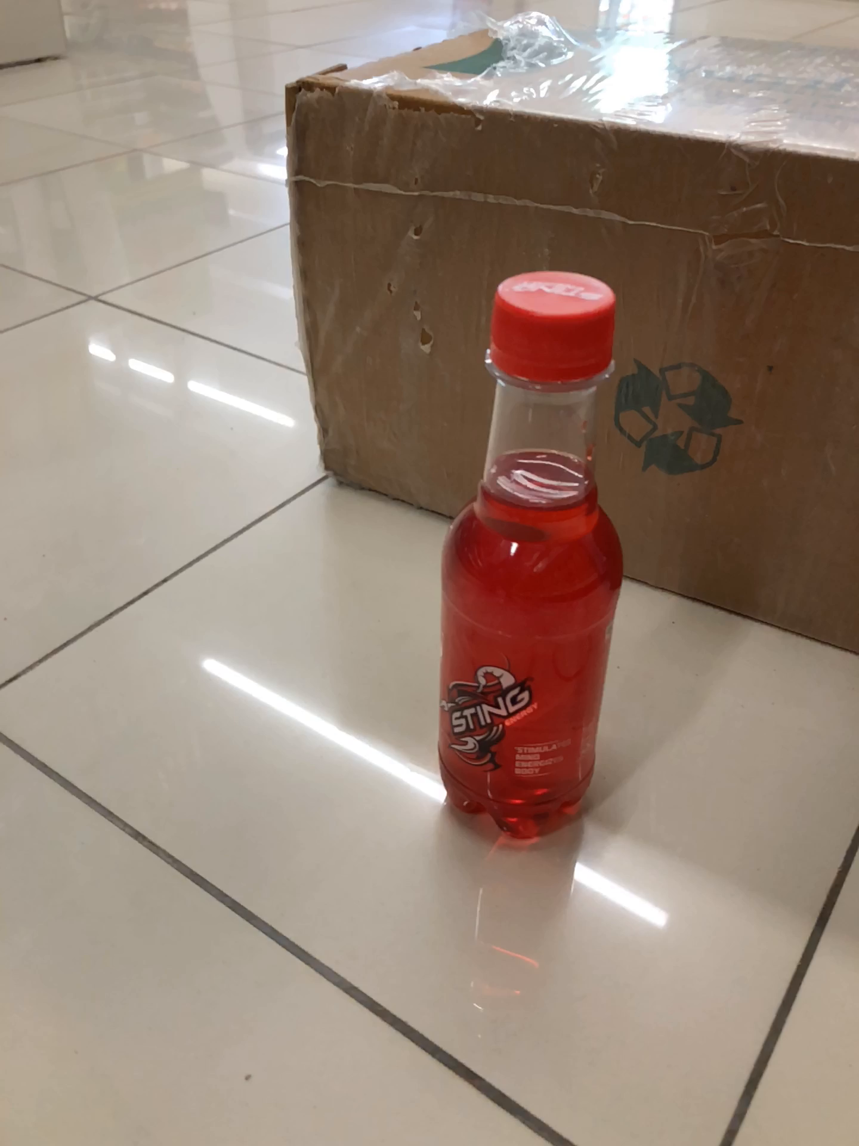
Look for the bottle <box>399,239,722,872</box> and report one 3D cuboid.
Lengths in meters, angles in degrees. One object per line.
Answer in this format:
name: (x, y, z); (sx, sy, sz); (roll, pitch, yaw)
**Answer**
bottle: (0.034, 0.001, 0.293); (0.060, 0.179, 0.060); (0, 36, 0)
